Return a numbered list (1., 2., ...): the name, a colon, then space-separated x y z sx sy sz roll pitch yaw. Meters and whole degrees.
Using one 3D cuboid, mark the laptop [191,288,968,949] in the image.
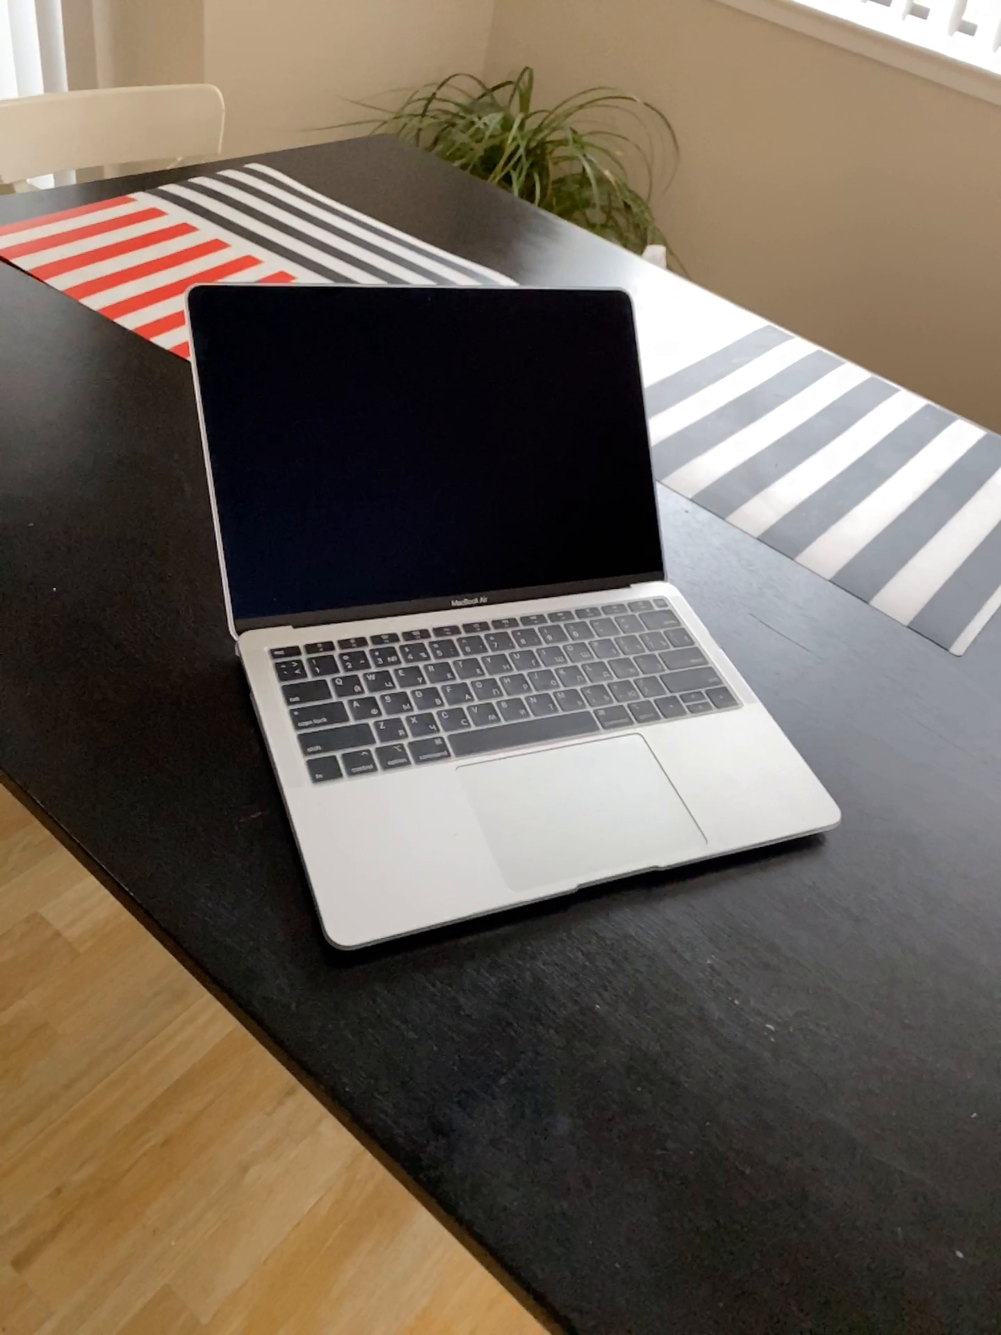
1. laptop: 0.009 -0.068 0.589 0.297 0.139 0.362 -9 48 -24
